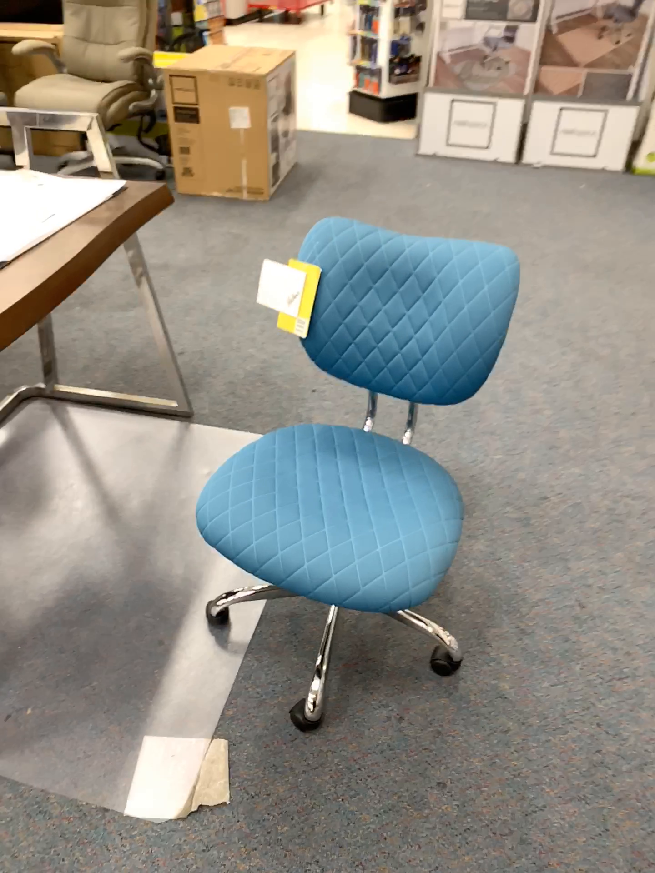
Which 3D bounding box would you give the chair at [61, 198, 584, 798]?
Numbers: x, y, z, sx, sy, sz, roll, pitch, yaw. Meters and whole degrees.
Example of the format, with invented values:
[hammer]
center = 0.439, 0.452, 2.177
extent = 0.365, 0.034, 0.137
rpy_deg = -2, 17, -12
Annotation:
[chair]
center = 0.037, 0.075, 1.314
extent = 0.599, 0.775, 0.667
rpy_deg = 18, 41, 20
